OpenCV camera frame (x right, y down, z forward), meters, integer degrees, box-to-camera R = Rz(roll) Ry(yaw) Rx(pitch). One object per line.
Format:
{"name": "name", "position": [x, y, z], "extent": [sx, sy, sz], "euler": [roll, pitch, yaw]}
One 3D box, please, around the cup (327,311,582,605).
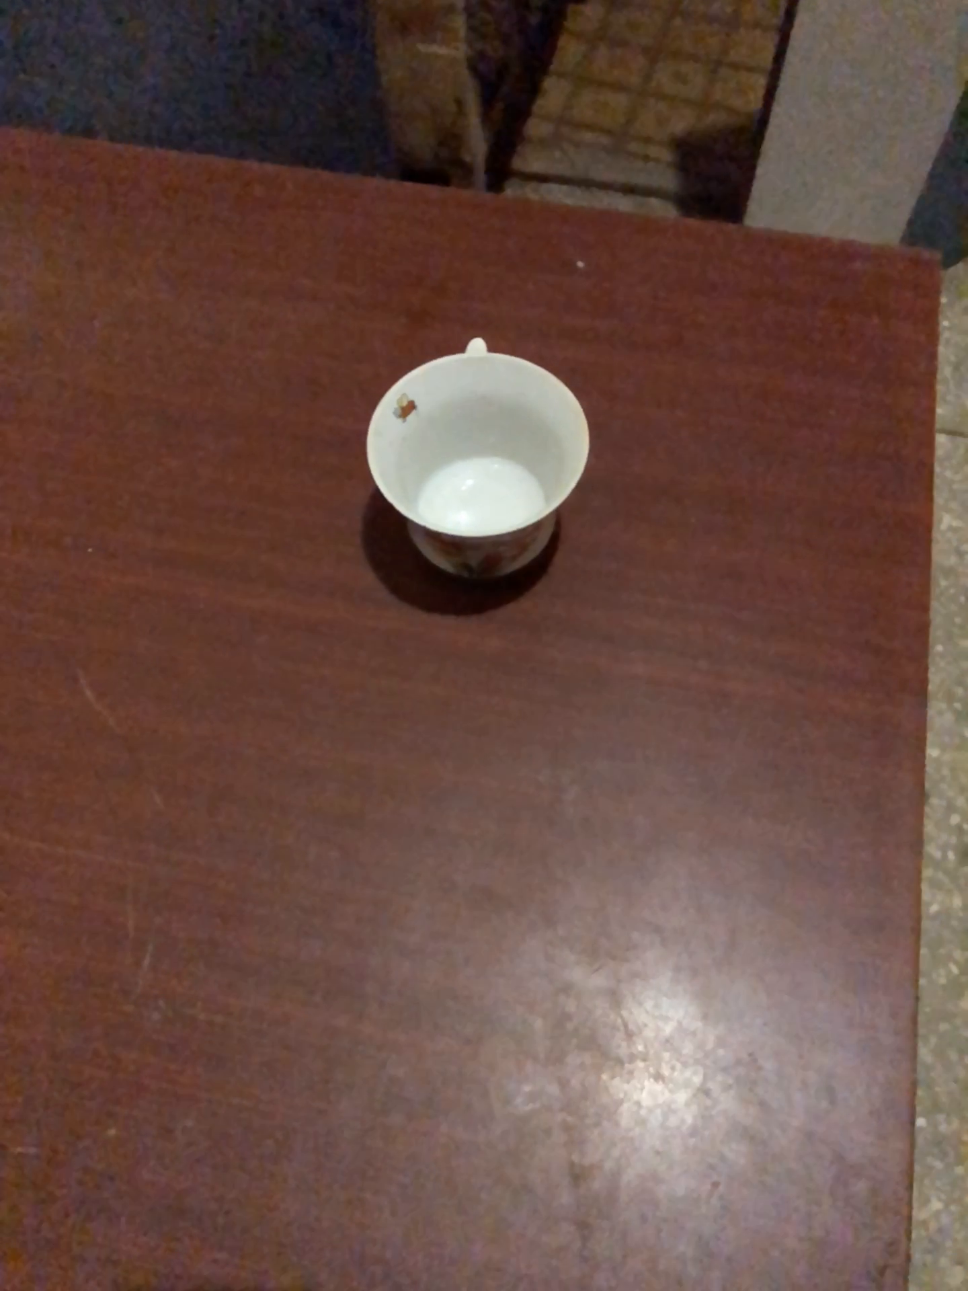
{"name": "cup", "position": [-0.009, -0.082, 0.466], "extent": [0.100, 0.059, 0.110], "euler": [2, 64, 2]}
